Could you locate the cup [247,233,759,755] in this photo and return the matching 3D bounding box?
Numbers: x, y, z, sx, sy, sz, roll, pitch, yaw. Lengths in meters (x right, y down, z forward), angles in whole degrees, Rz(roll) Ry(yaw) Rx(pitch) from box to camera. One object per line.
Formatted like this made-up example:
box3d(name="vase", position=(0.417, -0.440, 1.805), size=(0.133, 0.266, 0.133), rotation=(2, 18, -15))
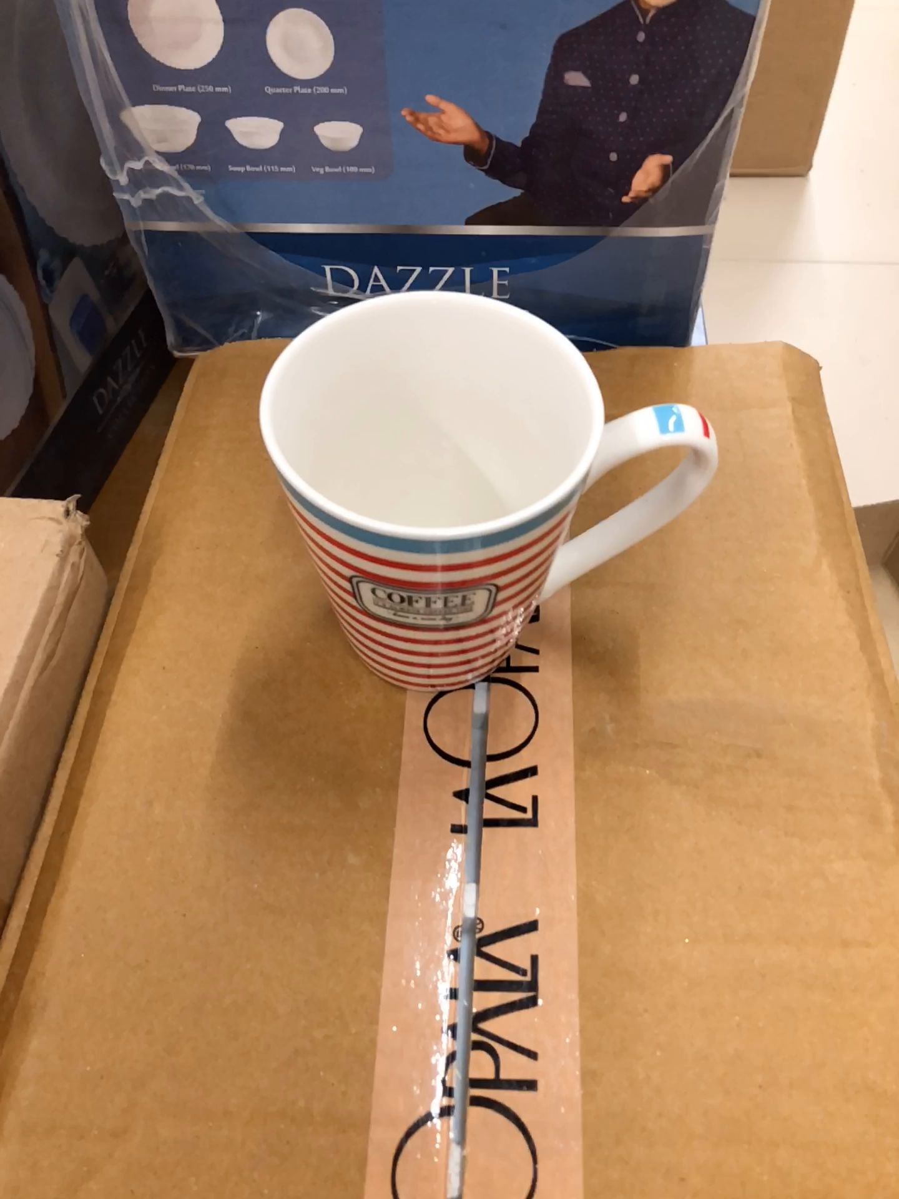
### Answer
box3d(name="cup", position=(0.008, -0.028, 0.279), size=(0.110, 0.099, 0.090), rotation=(-7, 52, -4))
